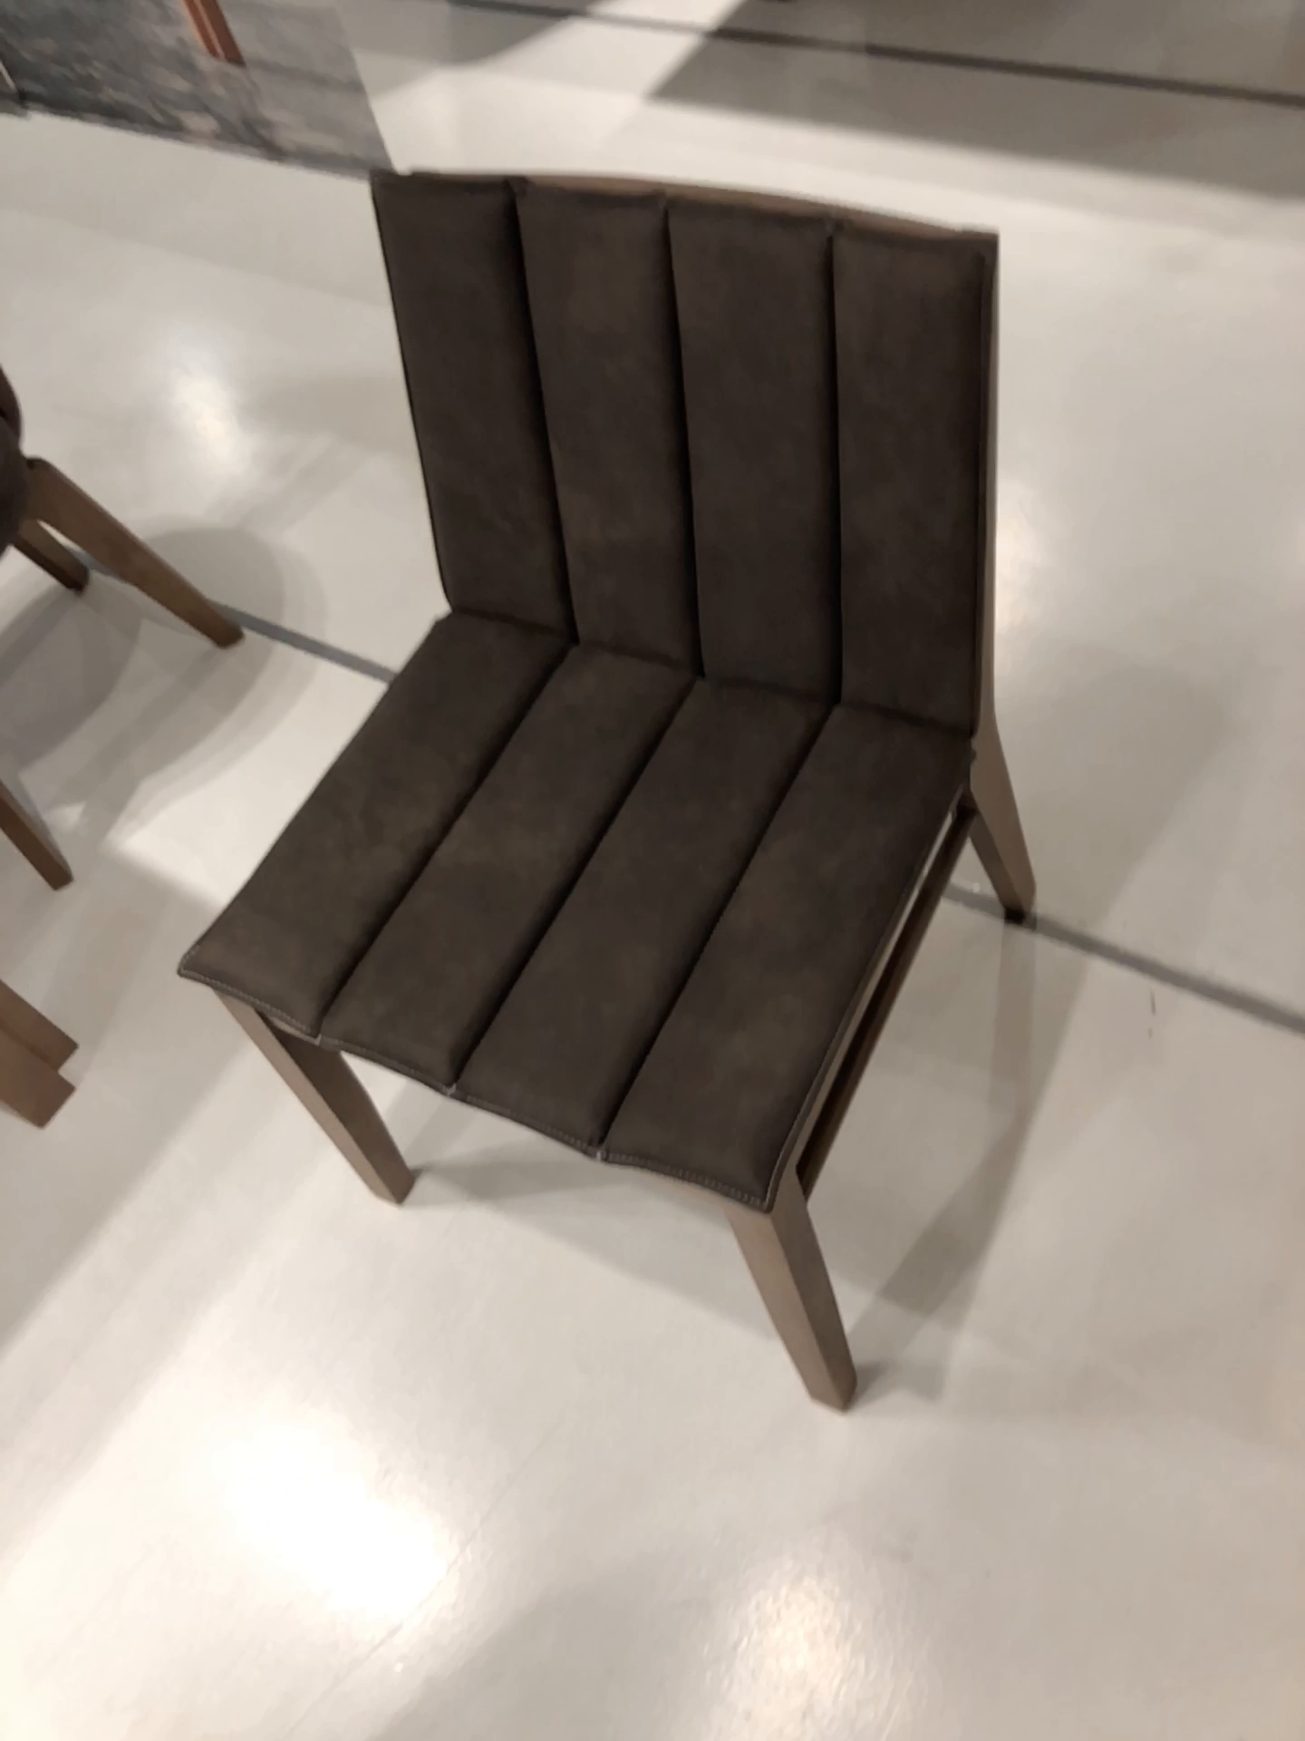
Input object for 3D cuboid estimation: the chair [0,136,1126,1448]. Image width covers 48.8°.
[{"bbox_3d":[-0.008,-0.024,1.132,0.541,0.776,0.572,18,63,25],"label":"chair"}]
